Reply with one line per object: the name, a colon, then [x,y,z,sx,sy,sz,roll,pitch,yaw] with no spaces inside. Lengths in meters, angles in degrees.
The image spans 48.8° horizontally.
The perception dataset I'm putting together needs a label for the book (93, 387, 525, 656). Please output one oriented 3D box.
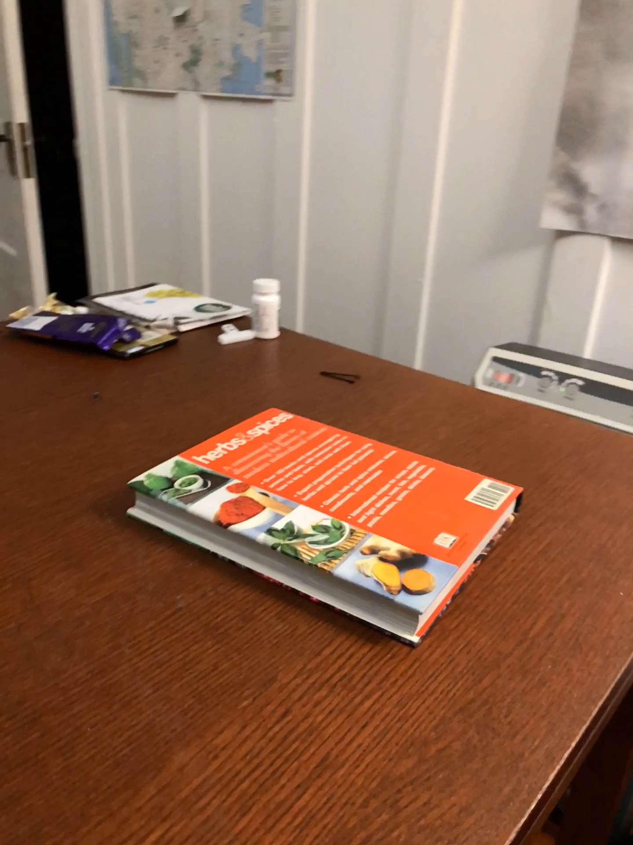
book: [-0.002,0.053,0.559,0.270,0.040,0.211,18,28,29]
